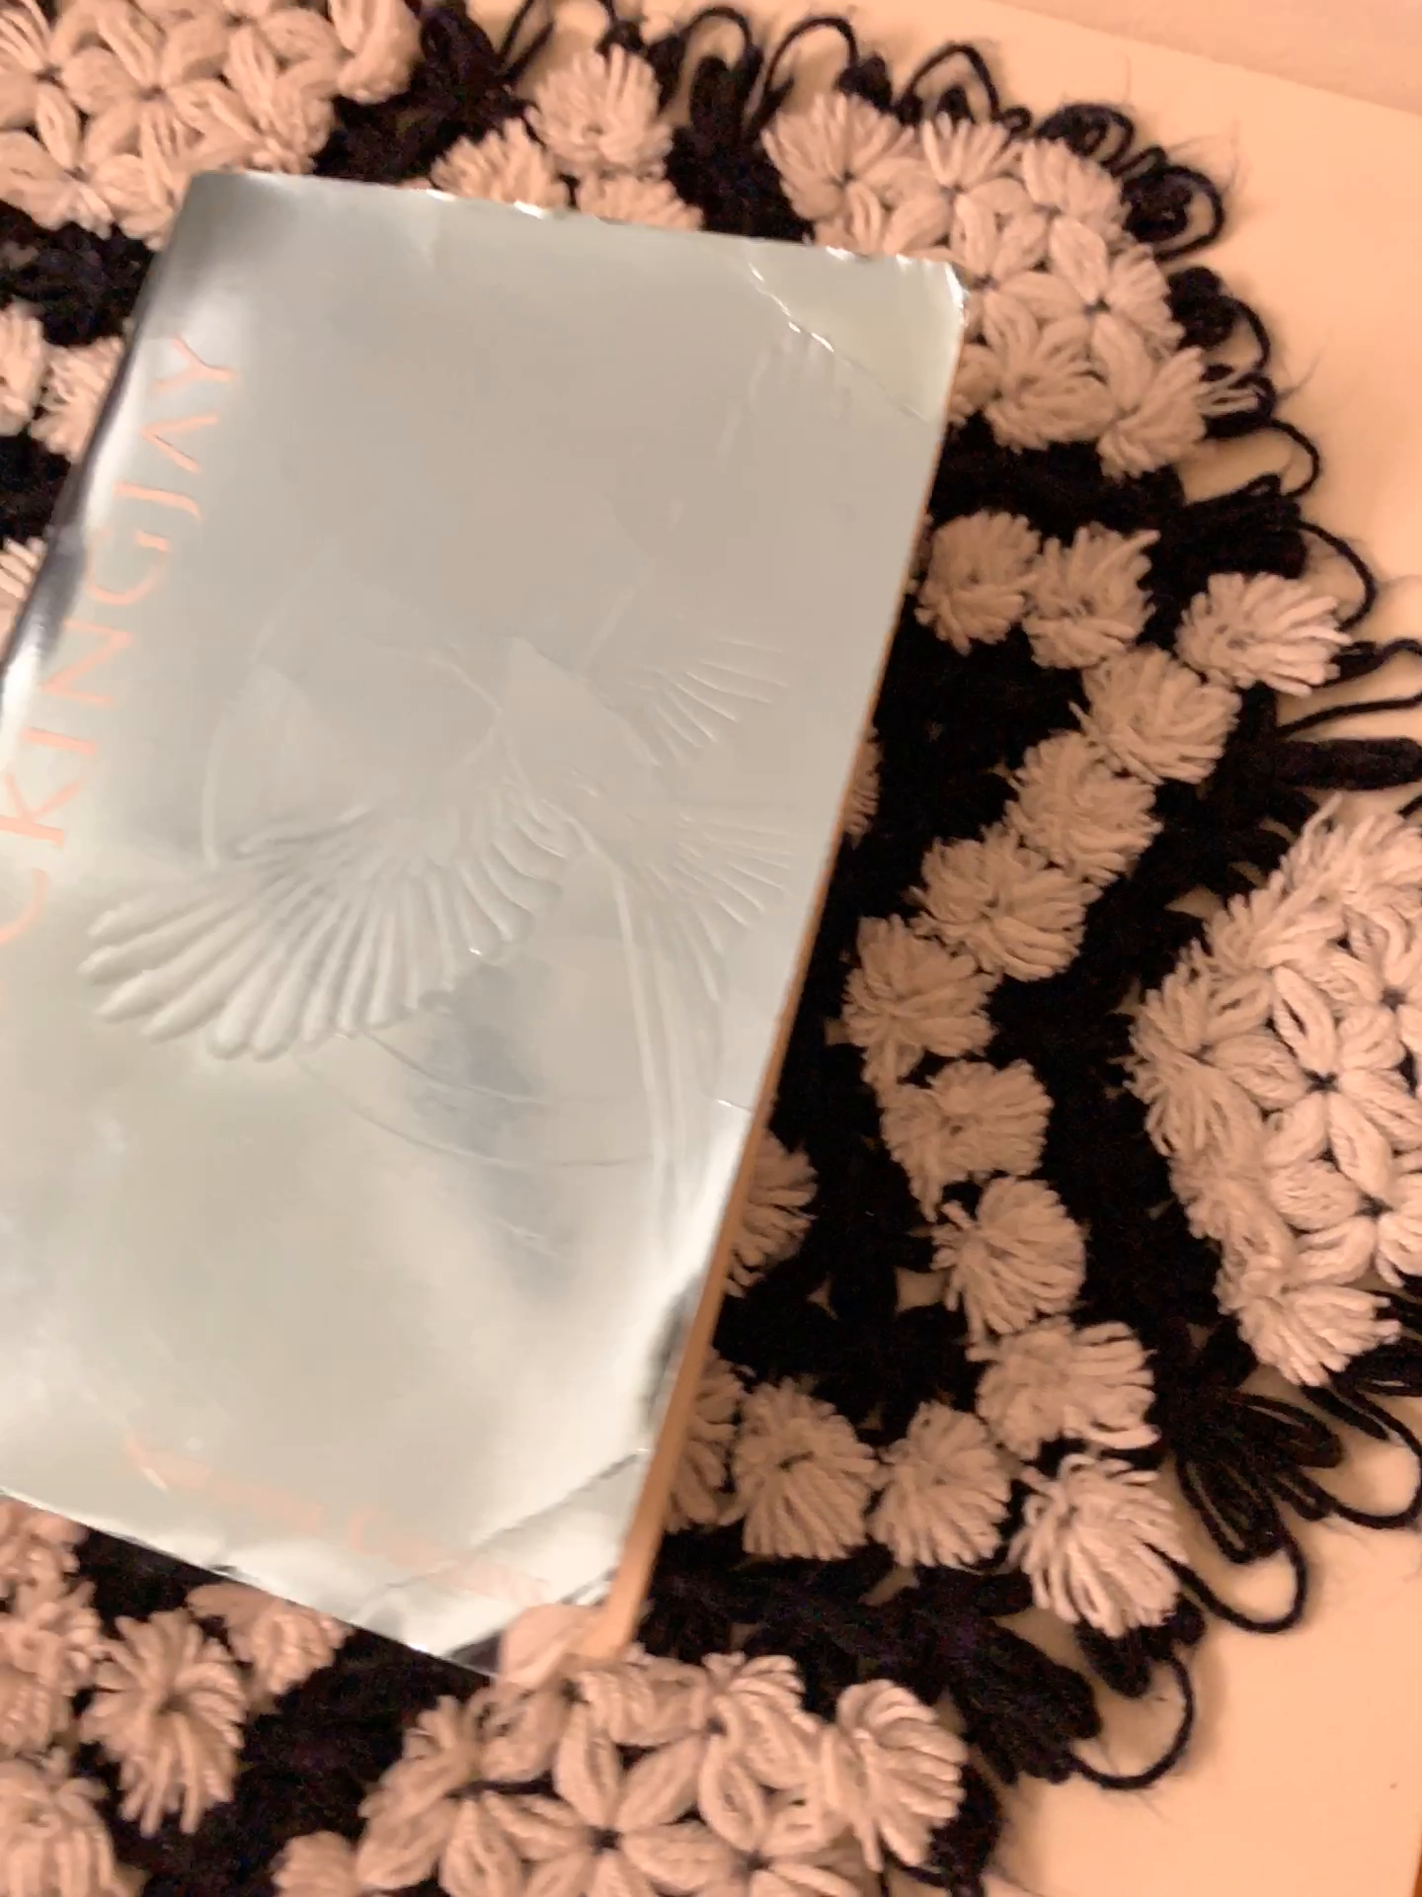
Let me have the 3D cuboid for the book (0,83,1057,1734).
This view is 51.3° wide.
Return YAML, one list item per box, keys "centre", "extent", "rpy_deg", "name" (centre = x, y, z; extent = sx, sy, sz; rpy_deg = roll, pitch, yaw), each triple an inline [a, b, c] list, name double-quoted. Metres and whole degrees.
- centre: [-0.041, -0.014, 0.210]
  extent: [0.136, 0.036, 0.193]
  rpy_deg: [14, 77, 2]
  name: "book"
